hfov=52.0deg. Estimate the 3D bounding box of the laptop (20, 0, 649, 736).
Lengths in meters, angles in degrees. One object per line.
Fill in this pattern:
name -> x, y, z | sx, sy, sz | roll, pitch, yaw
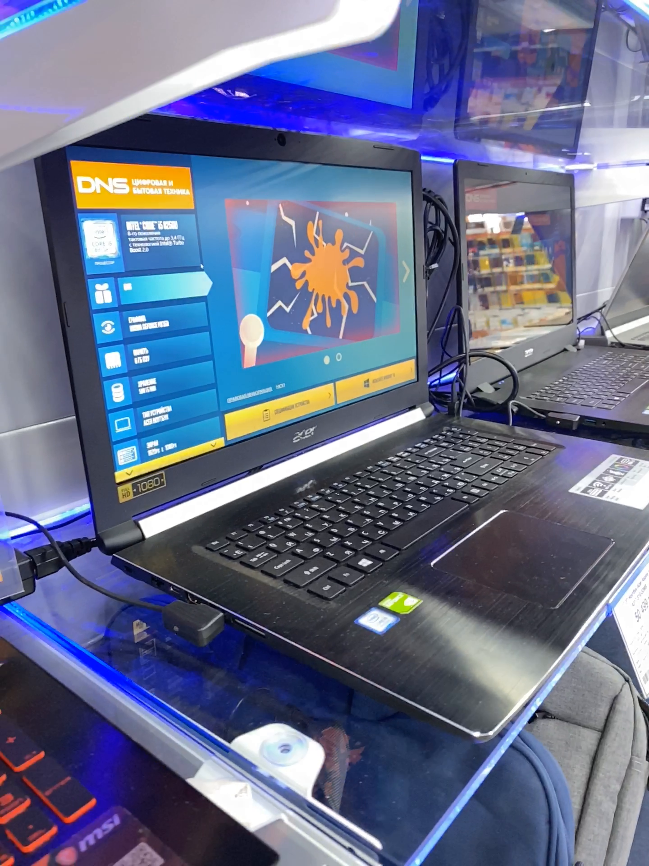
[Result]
laptop -> 0.083, -0.084, 0.486 | 0.311, 0.278, 0.424 | 12, 21, 38
